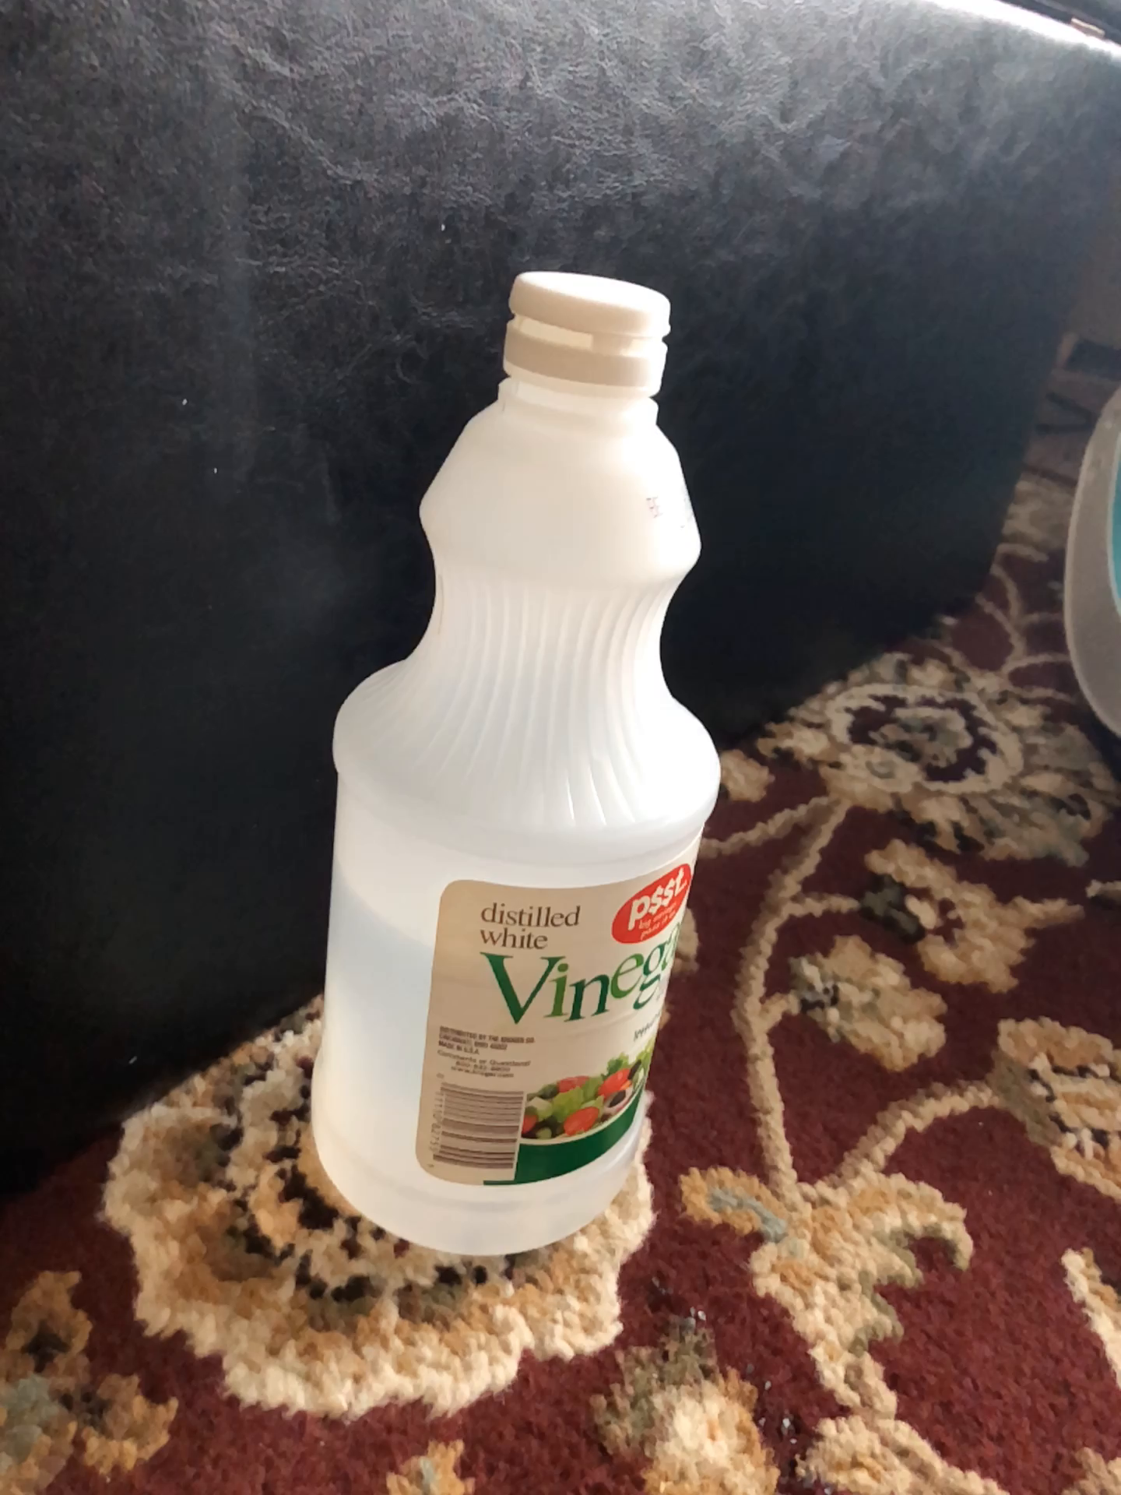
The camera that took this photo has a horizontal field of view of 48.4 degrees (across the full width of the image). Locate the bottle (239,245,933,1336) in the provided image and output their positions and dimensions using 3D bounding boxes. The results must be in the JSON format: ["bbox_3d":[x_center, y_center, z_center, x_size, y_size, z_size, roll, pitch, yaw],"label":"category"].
[{"bbox_3d":[-0.007,0.007,0.293,0.100,0.219,0.090,-18,38,-40],"label":"bottle"}]
